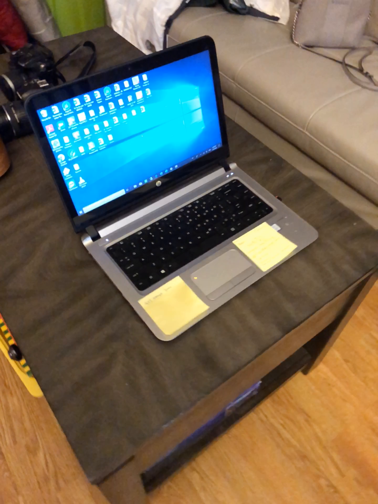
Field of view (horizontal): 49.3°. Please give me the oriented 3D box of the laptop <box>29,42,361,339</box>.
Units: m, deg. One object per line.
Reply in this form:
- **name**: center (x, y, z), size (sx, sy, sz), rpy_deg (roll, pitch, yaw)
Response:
- **laptop**: center (0.001, -0.114, 0.628), size (0.316, 0.203, 0.314), rpy_deg (-31, 59, -24)
